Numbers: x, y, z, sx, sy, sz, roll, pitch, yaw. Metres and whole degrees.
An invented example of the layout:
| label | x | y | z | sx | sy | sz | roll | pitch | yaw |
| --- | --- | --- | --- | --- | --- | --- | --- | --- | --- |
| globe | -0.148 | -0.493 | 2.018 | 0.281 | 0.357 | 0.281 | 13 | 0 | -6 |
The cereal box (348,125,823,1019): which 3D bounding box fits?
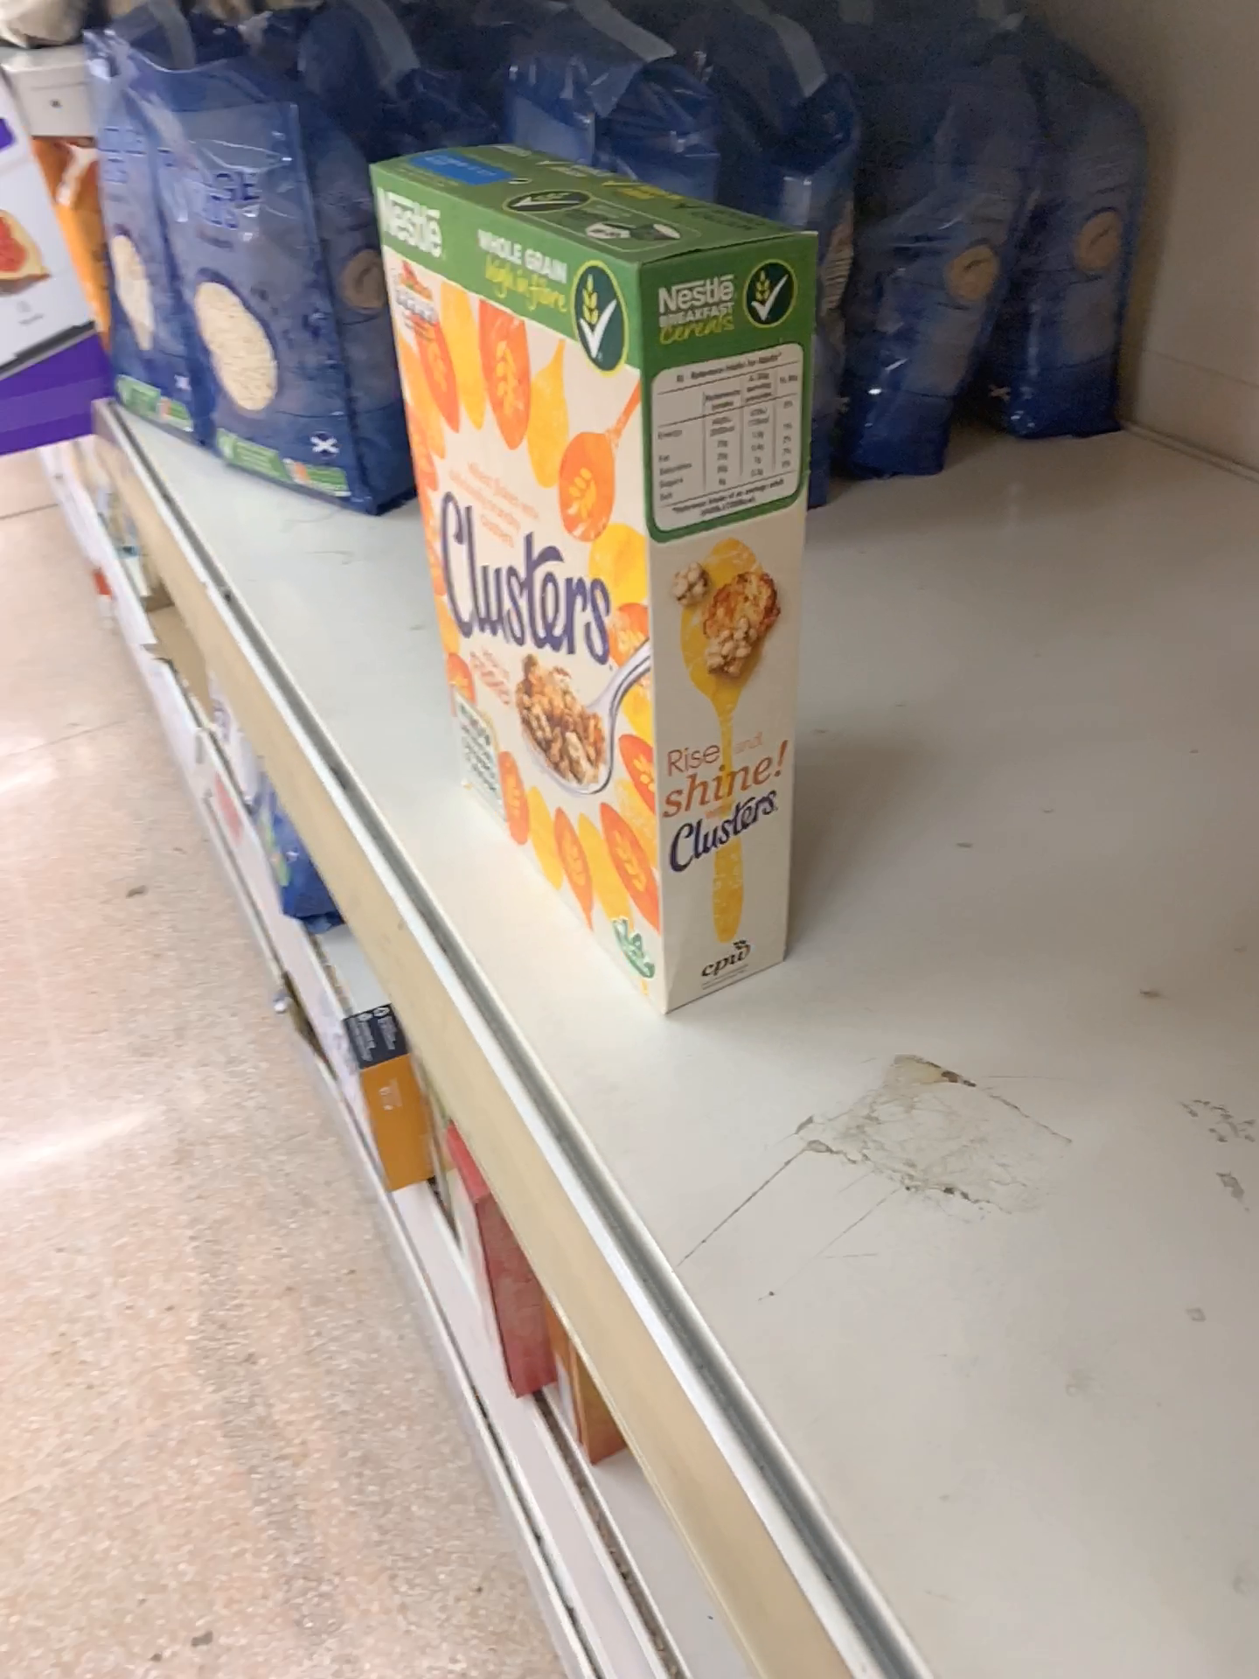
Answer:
| label | x | y | z | sx | sy | sz | roll | pitch | yaw |
| --- | --- | --- | --- | --- | --- | --- | --- | --- | --- |
| cereal box | -0.020 | -0.101 | 0.483 | 0.060 | 0.267 | 0.202 | -21 | 40 | -23 |
